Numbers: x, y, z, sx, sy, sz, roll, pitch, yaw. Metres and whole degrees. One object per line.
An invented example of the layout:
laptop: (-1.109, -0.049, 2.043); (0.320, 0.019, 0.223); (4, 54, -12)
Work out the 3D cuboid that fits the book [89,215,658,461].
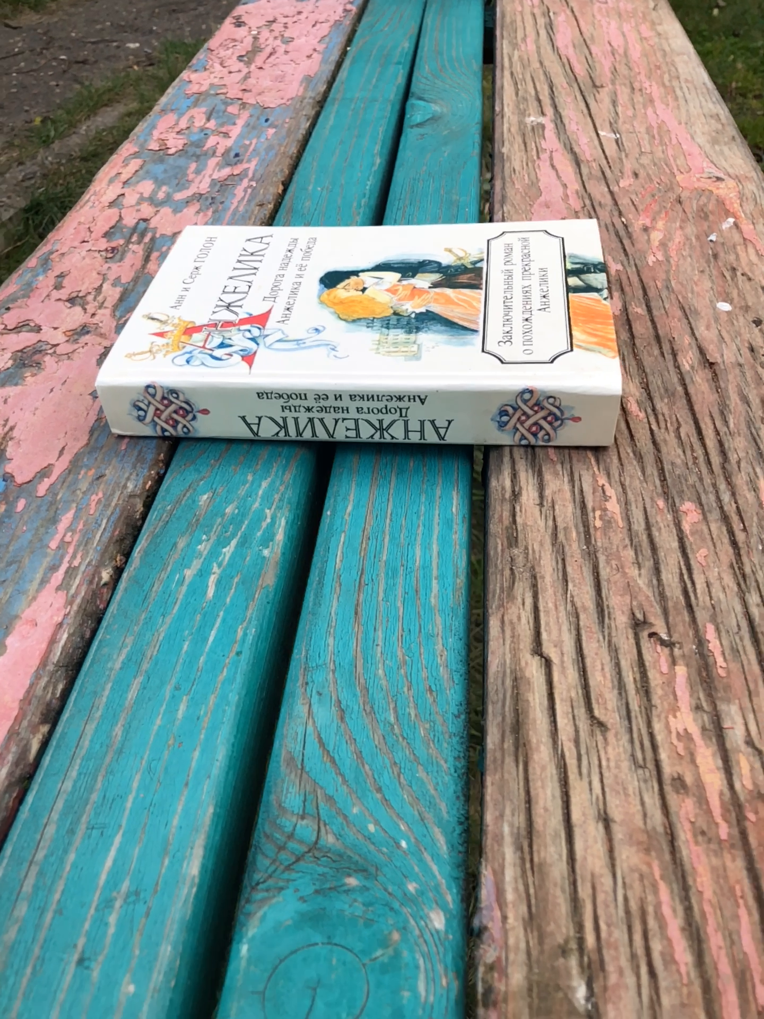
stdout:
book: (0.001, -0.086, 0.384); (0.213, 0.032, 0.154); (2, 42, 4)
